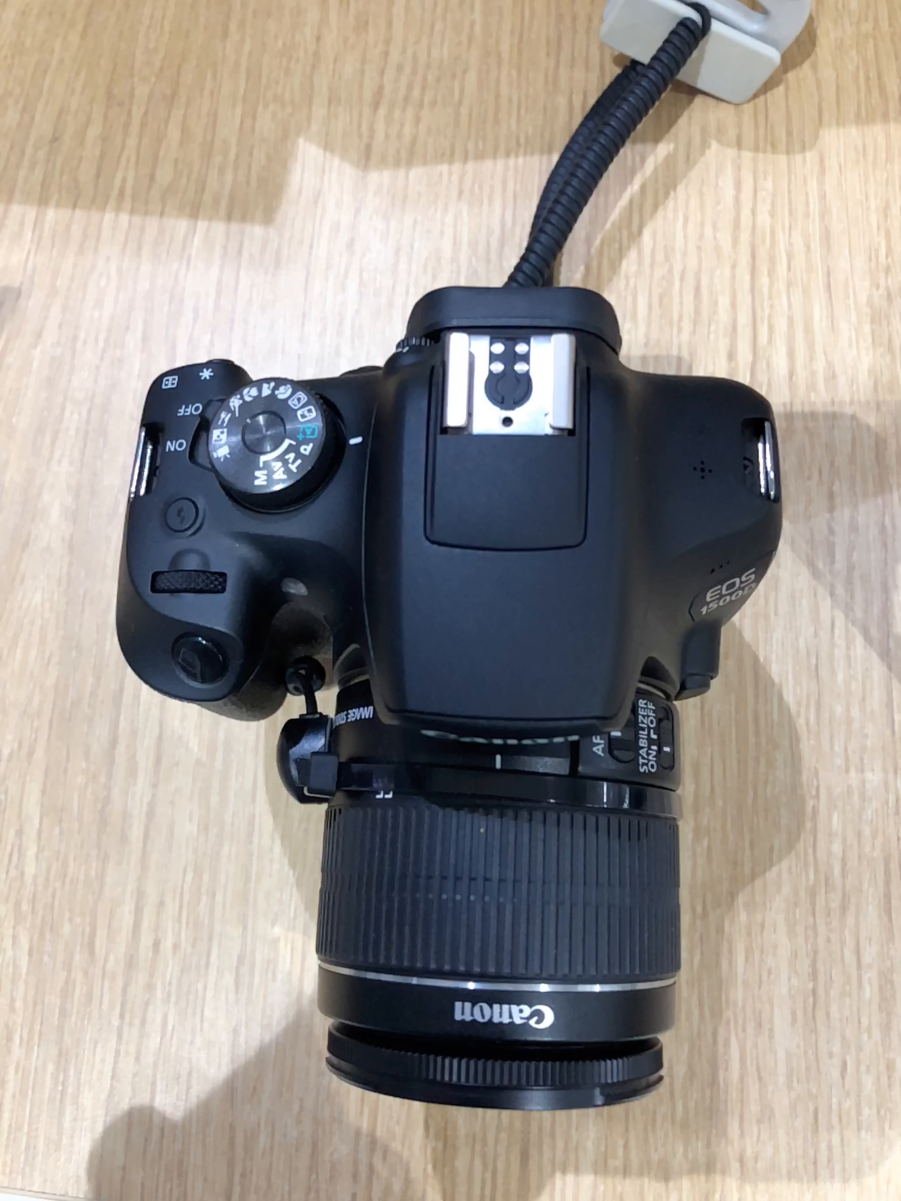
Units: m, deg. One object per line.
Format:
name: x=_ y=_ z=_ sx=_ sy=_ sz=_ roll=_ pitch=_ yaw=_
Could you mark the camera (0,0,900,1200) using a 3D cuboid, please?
camera: x=0.003 y=-0.007 z=0.192 sx=0.140 sy=0.100 sz=0.190 roll=-1 pitch=73 yaw=4
